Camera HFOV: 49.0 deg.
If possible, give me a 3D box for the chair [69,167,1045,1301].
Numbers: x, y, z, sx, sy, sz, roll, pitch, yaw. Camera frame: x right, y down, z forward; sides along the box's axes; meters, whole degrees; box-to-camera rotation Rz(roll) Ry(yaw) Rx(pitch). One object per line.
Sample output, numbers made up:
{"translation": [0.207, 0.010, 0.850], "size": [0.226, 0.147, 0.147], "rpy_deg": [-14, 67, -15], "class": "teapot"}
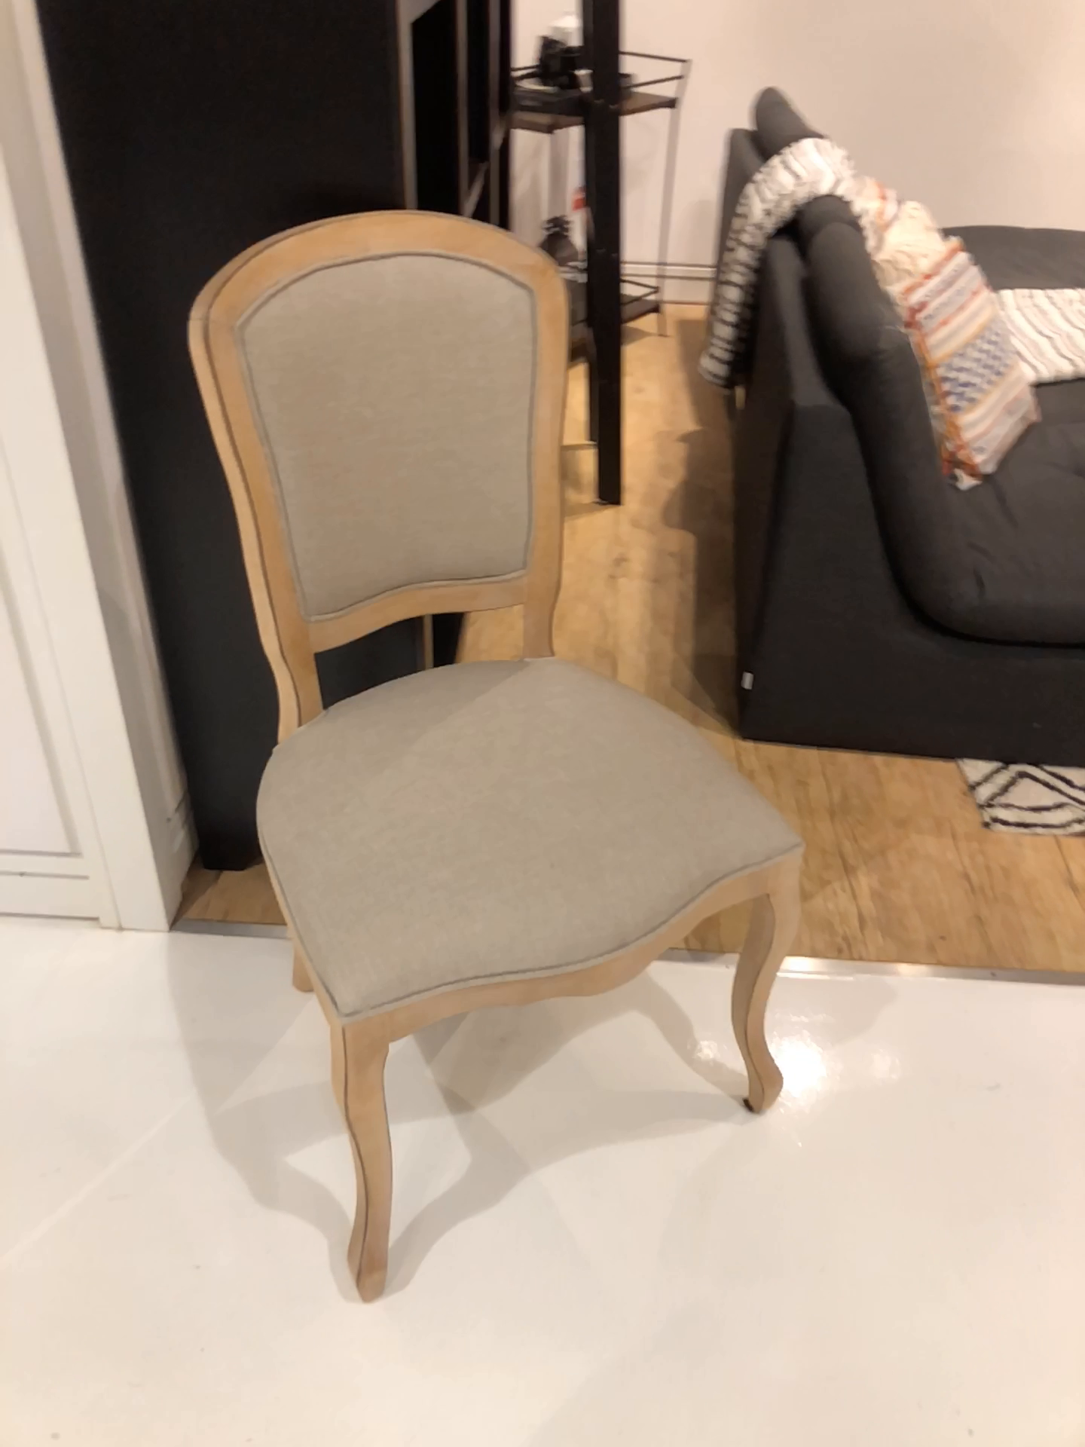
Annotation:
{"translation": [-0.030, -0.020, 1.217], "size": [0.601, 0.873, 0.553], "rpy_deg": [-16, 39, -24], "class": "chair"}
